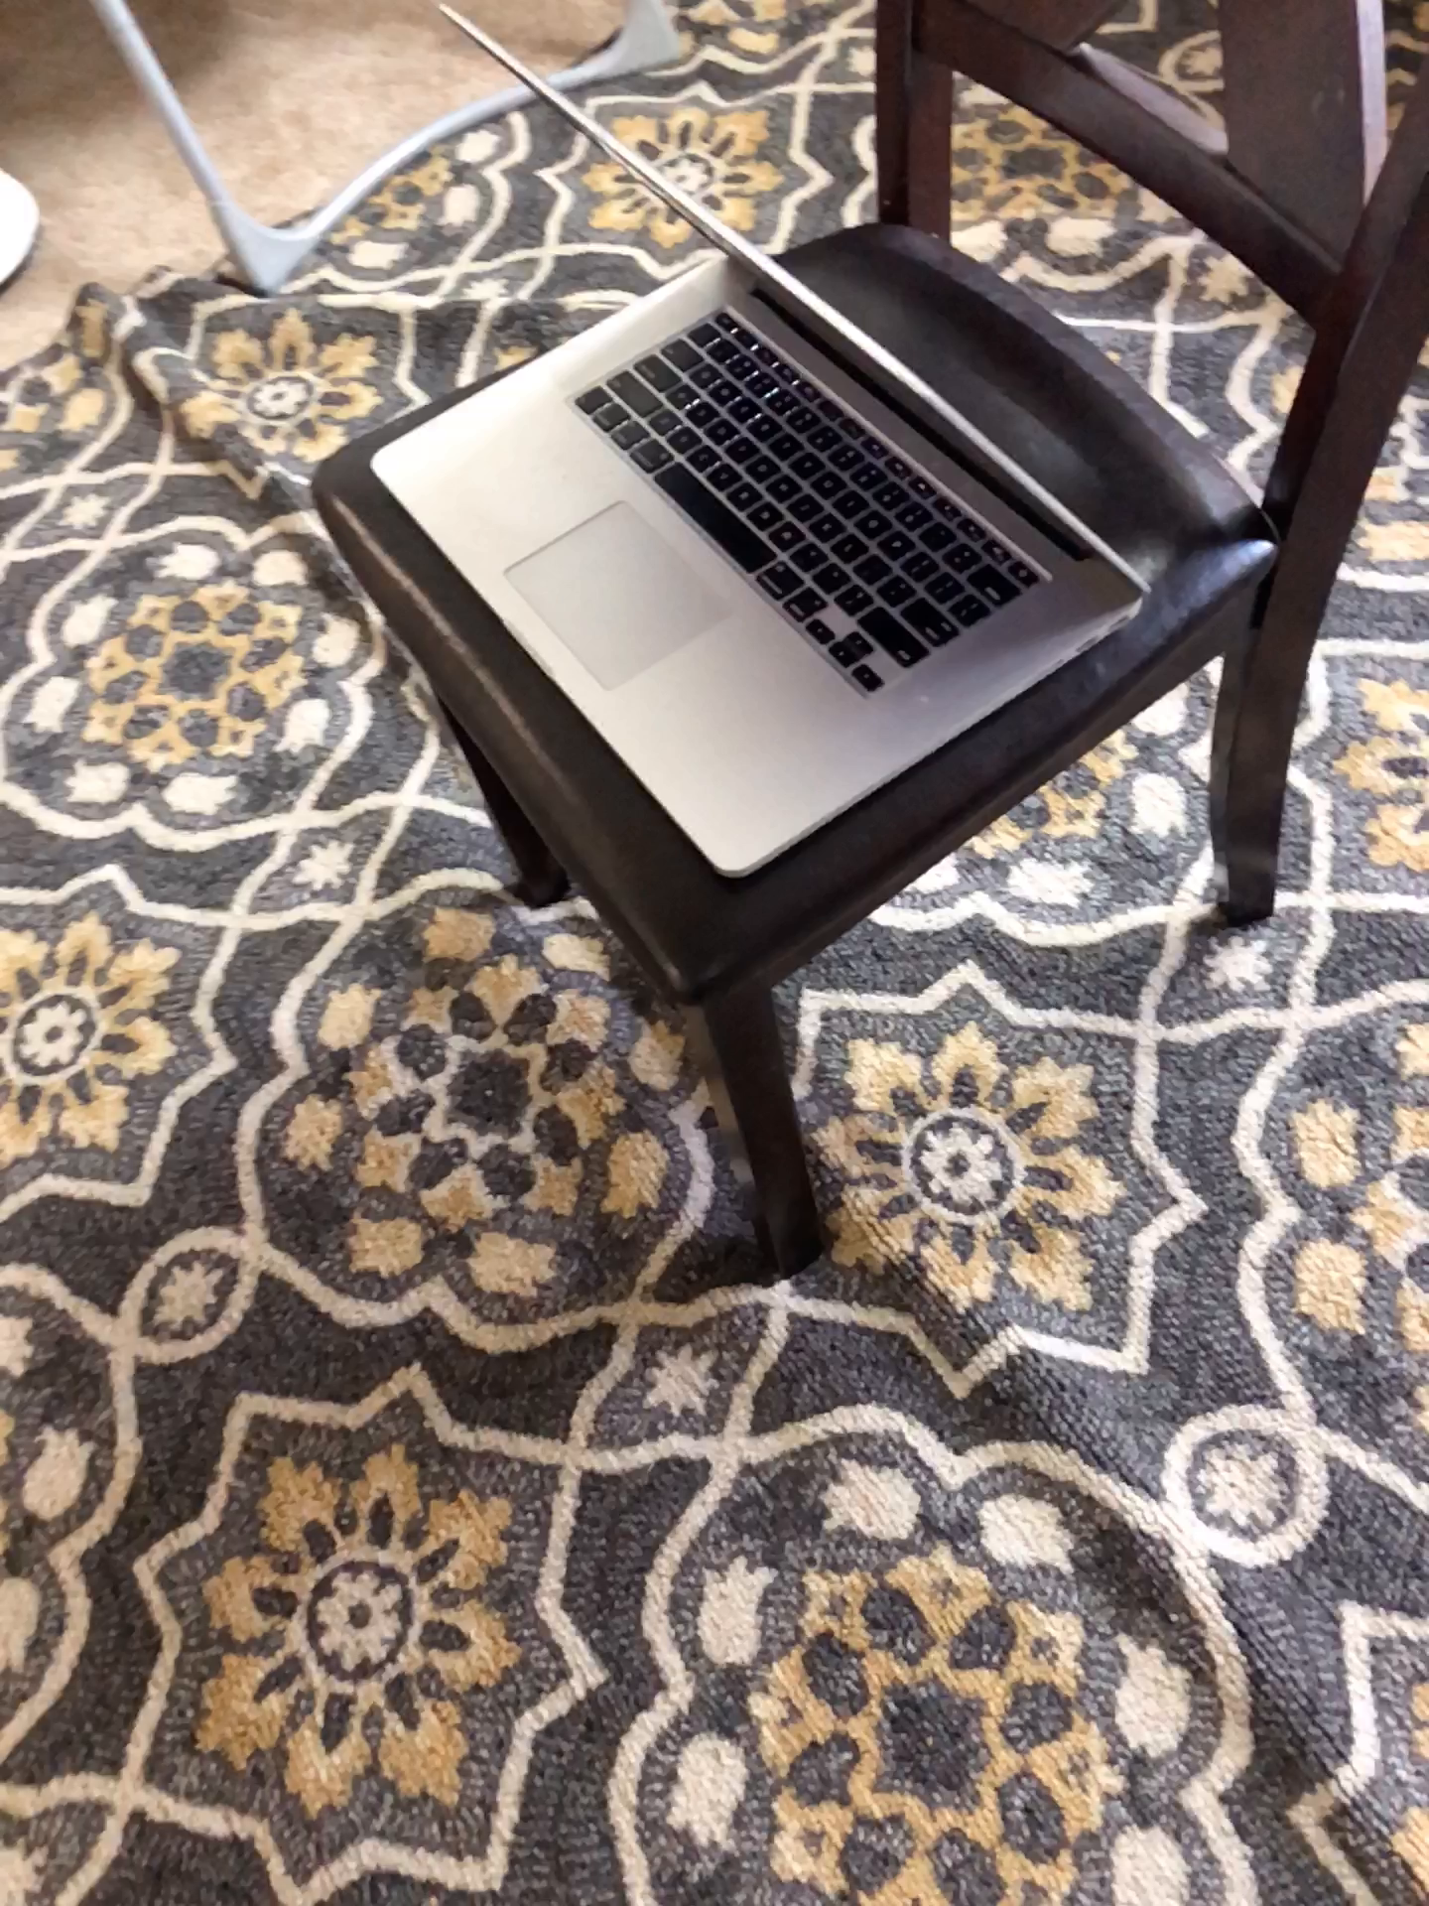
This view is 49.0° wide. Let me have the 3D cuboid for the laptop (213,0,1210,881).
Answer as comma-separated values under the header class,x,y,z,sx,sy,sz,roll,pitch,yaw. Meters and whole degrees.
class,x,y,z,sx,sy,sz,roll,pitch,yaw
laptop,-0.008,-0.262,0.706,0.237,0.200,0.352,-34,61,-11
